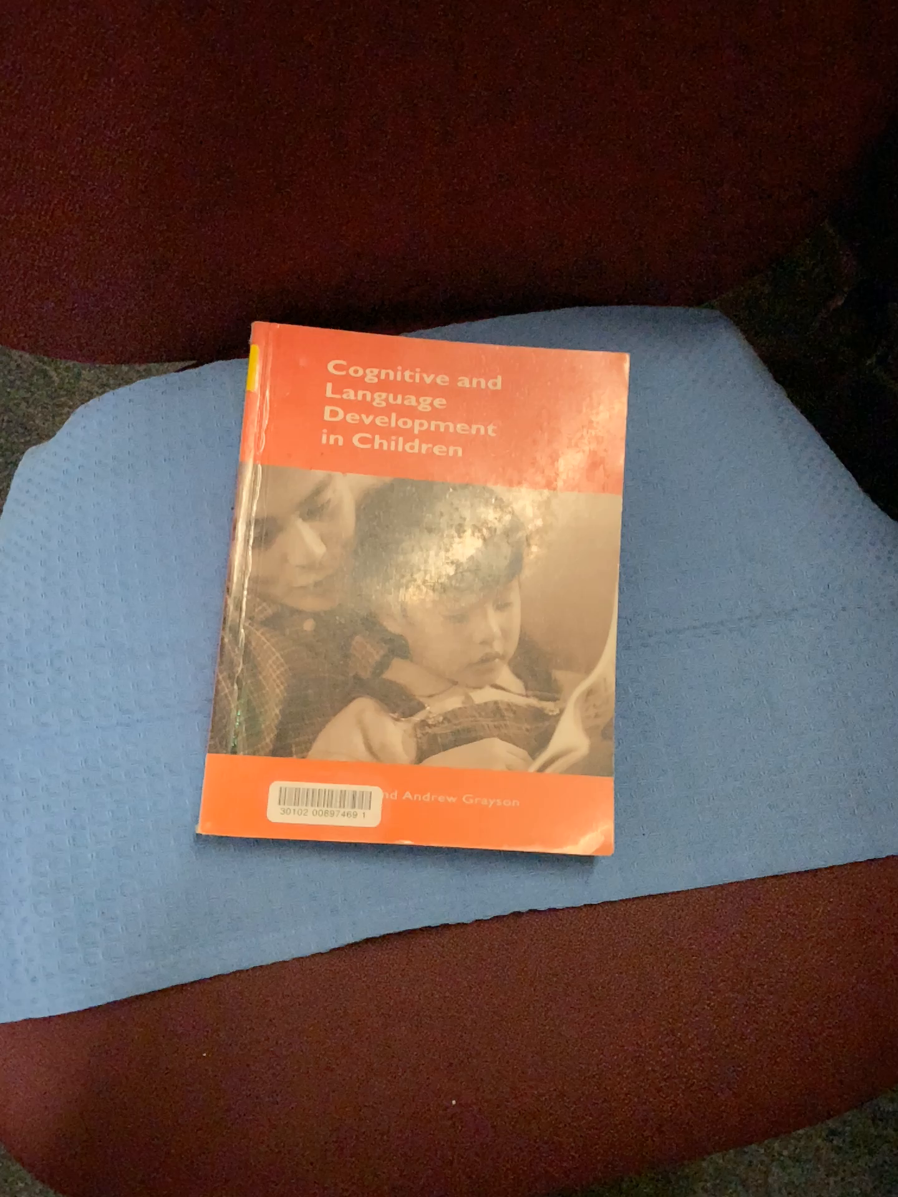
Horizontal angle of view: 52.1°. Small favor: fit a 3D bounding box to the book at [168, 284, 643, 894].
[{"bbox_3d":[-0.015,-0.007,0.448,0.200,0.060,0.270,3,81,0],"label":"book"}]
